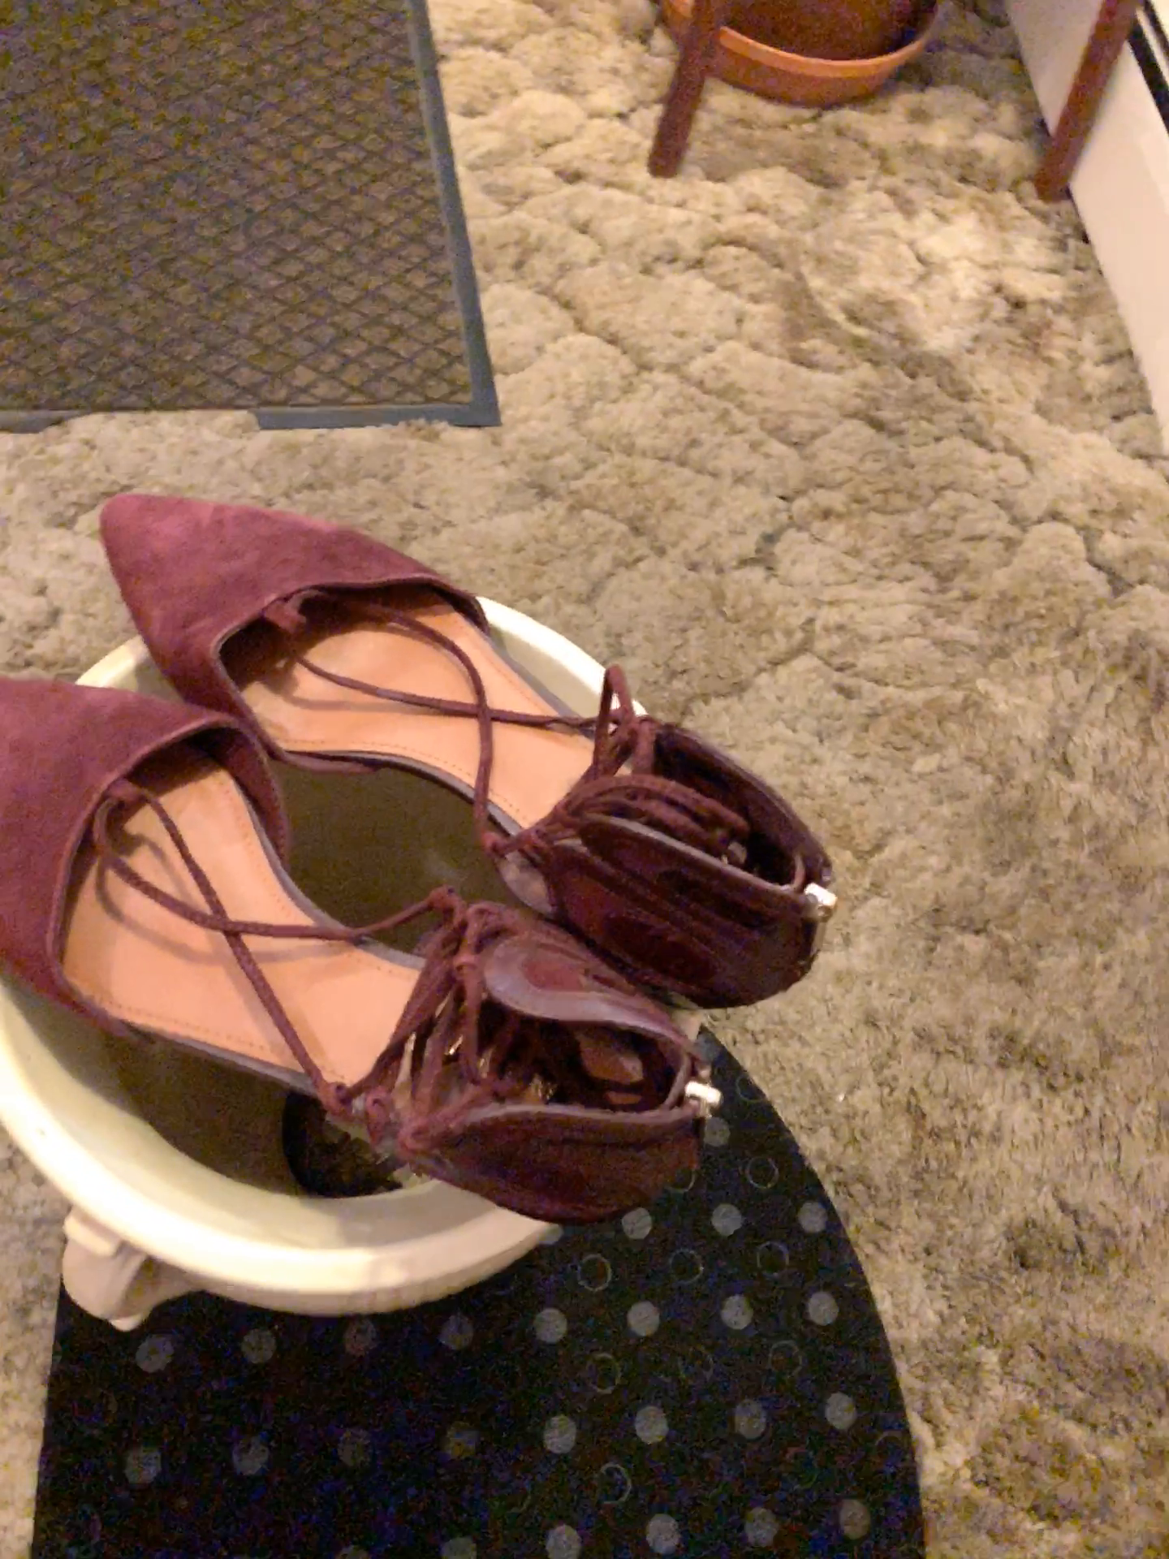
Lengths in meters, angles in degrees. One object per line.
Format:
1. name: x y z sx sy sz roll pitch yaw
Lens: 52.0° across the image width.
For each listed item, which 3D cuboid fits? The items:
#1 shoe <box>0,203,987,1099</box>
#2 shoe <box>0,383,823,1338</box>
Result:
1. shoe: -0.039 -0.033 0.340 0.260 0.099 0.093 34 63 7
2. shoe: -0.088 0.025 0.306 0.260 0.099 0.093 31 63 5
